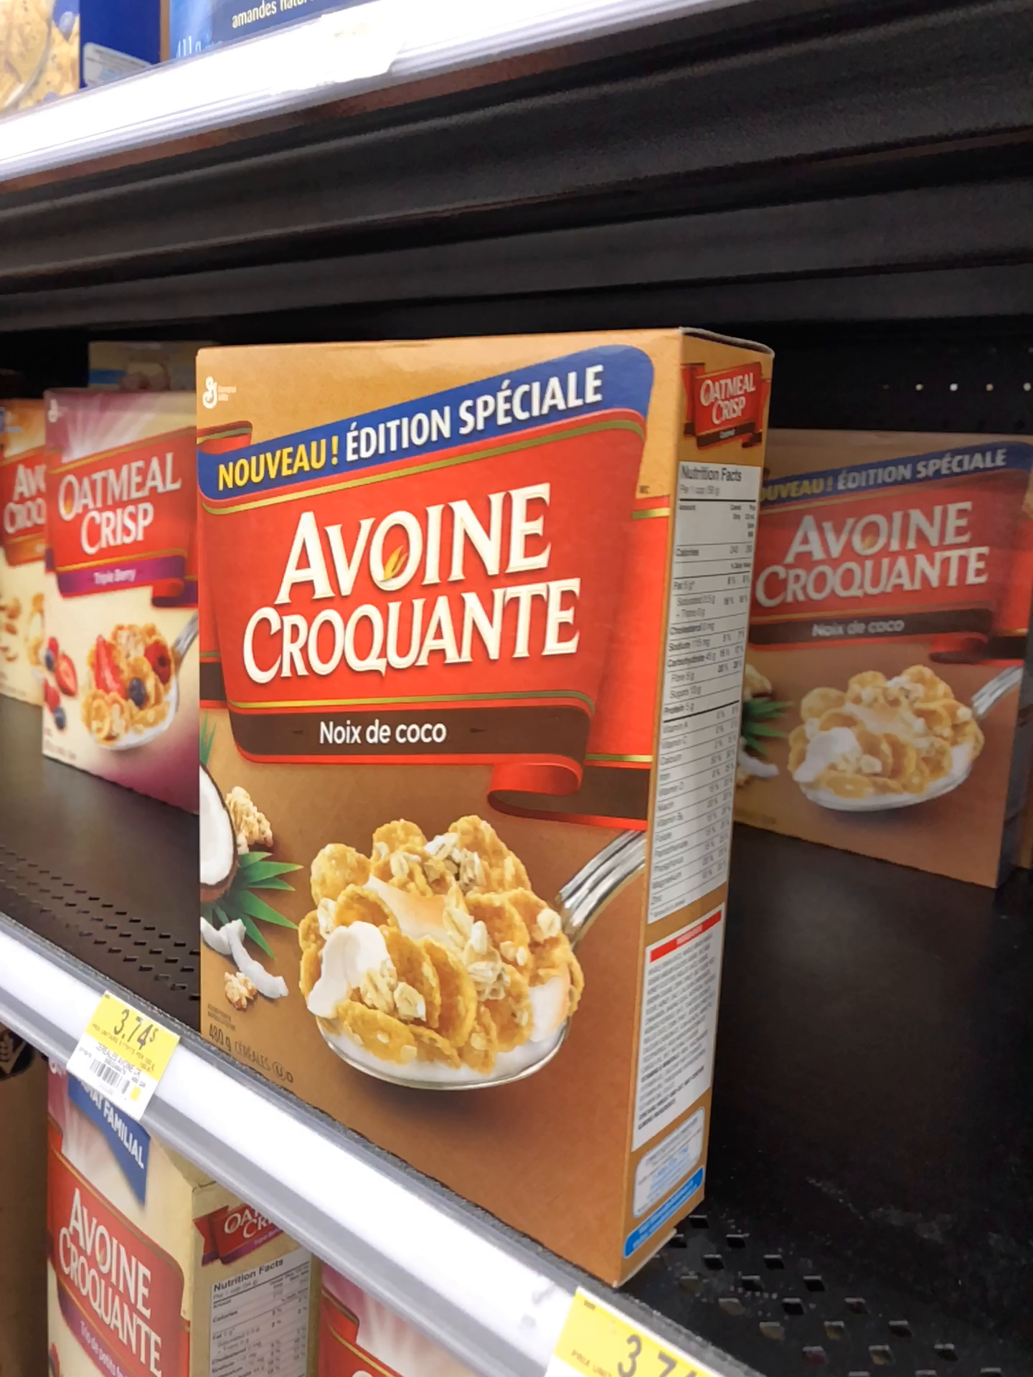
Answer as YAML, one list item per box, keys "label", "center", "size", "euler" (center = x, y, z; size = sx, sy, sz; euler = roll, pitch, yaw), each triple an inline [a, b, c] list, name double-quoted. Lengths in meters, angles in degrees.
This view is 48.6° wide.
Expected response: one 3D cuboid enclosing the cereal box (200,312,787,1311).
- label: "cereal box"
  center: [-0.025, 0.023, 0.380]
  size: [0.200, 0.269, 0.050]
  euler: [12, 13, 40]
